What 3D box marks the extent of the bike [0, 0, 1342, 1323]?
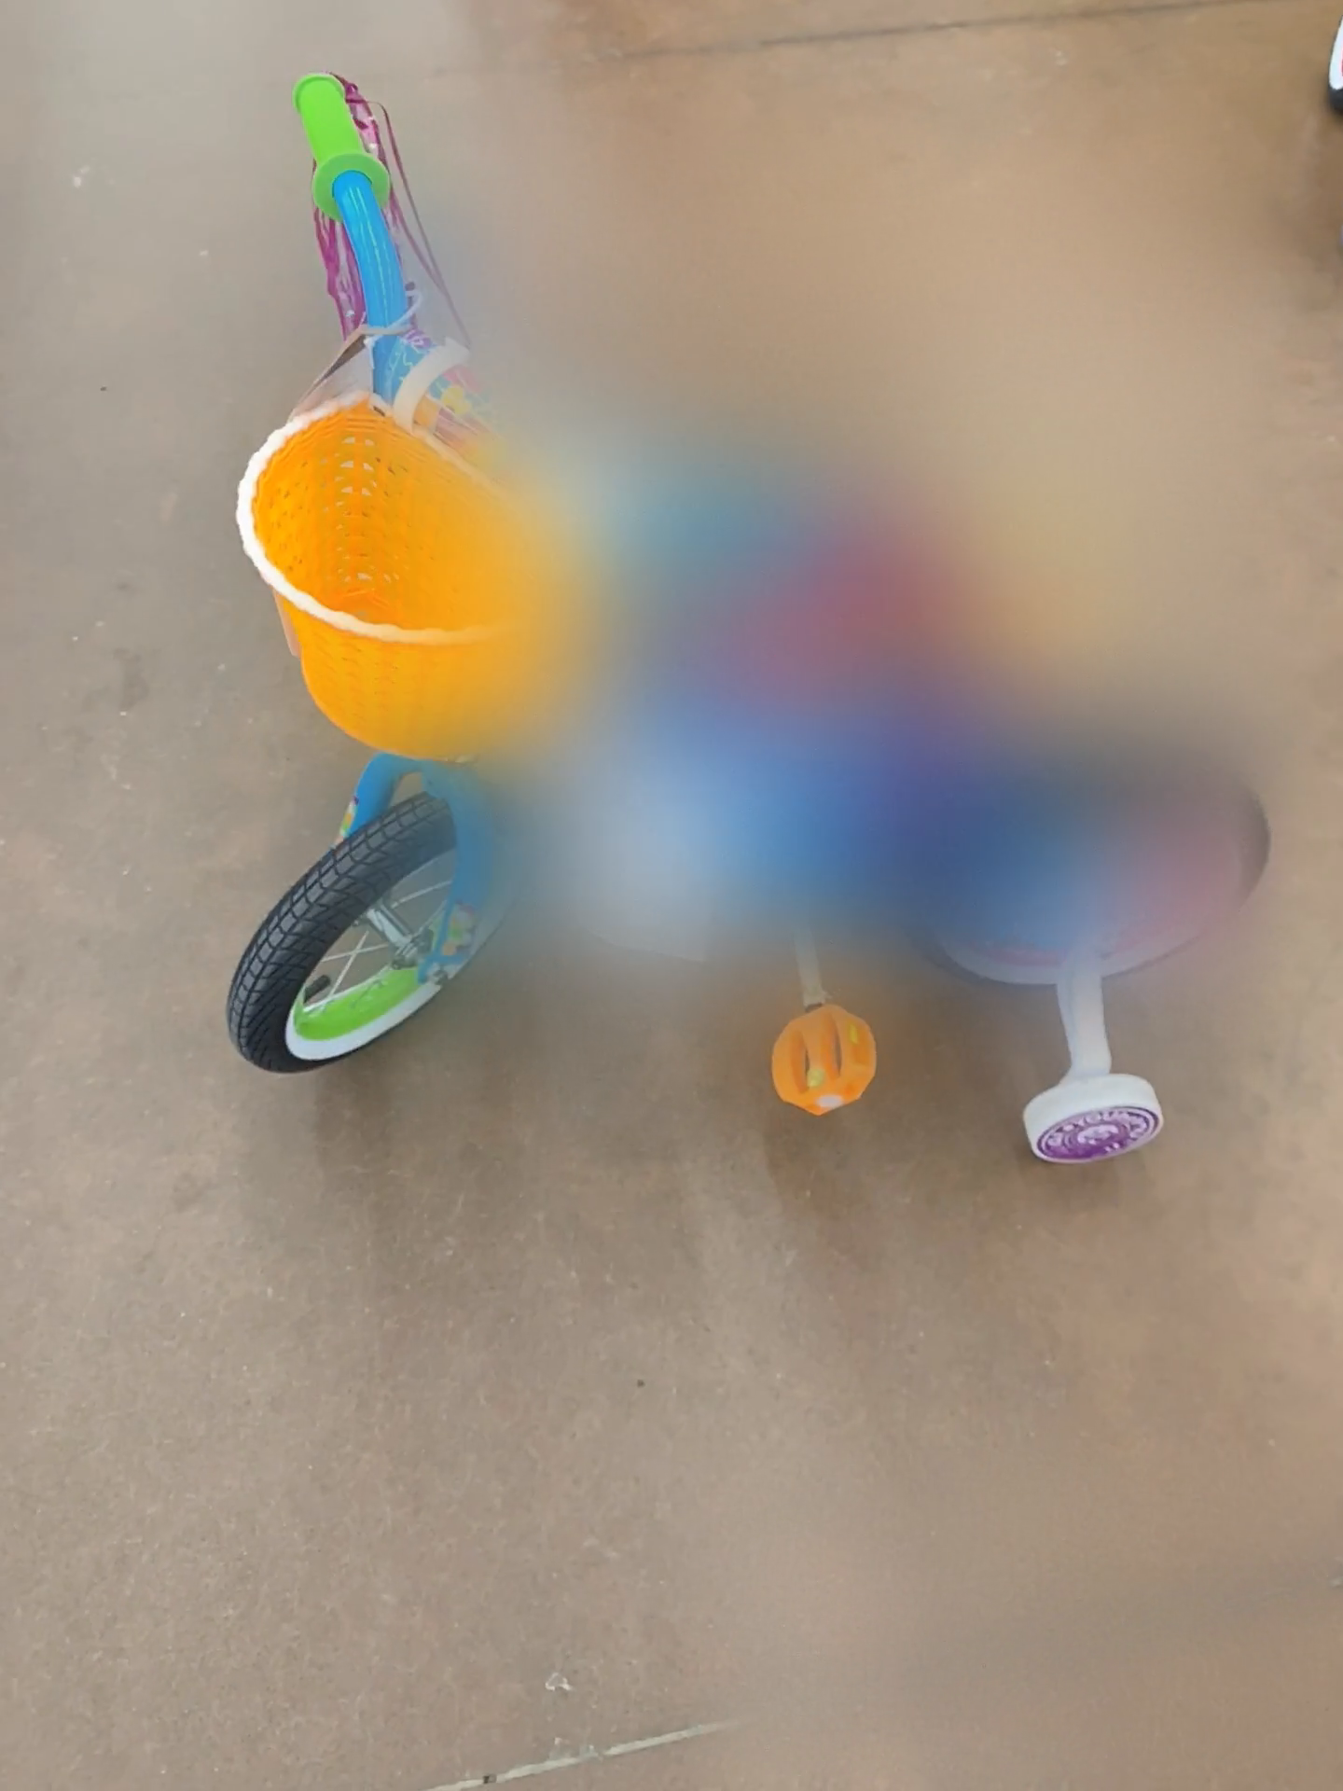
[{"bbox_3d":[0.067,-0.158,0.981,0.816,0.664,0.554,-10,54,-10],"label":"bike"}]
